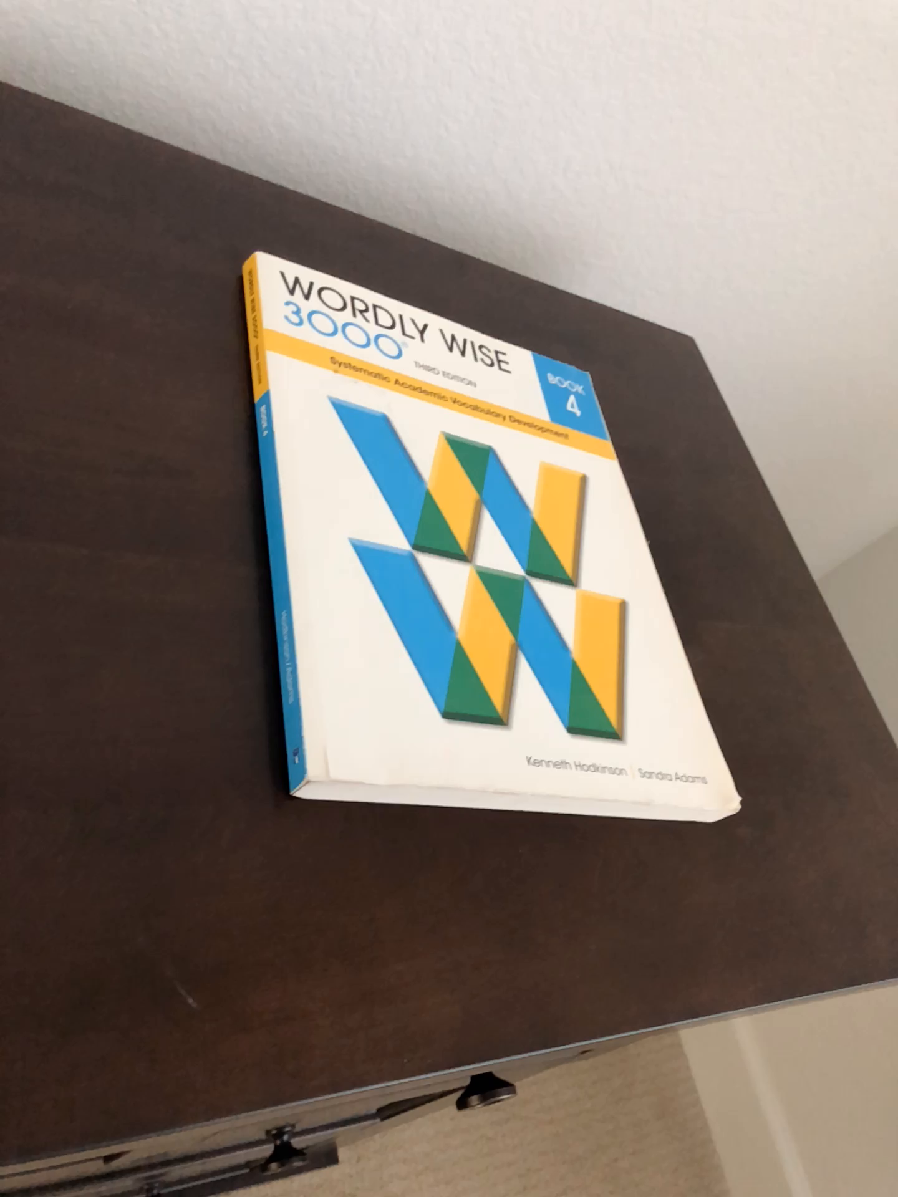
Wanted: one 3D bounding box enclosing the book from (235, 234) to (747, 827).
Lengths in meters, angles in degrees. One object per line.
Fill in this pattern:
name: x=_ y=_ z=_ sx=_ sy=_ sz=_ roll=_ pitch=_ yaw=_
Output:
book: x=0.014 y=-0.033 z=0.460 sx=0.218 sy=0.020 sz=0.274 roll=11 pitch=53 yaw=-32
